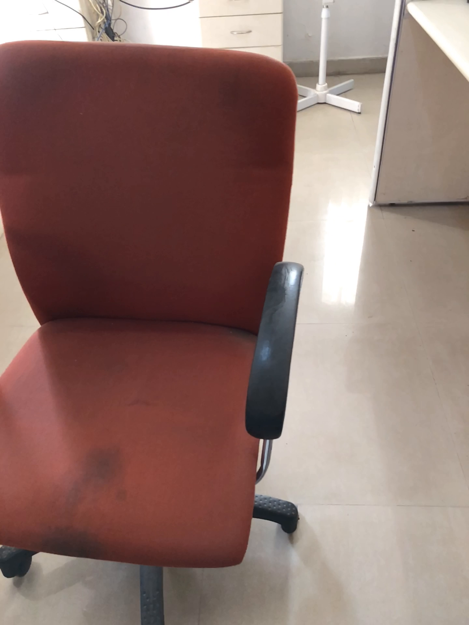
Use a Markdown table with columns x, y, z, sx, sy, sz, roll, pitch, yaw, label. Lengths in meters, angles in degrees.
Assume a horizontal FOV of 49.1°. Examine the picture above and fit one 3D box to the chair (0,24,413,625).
| x | y | z | sx | sy | sz | roll | pitch | yaw | label |
| --- | --- | --- | --- | --- | --- | --- | --- | --- | --- |
| -0.189 | 0.142 | 0.958 | 0.770 | 1.043 | 0.704 | 4 | 42 | 9 | chair |
